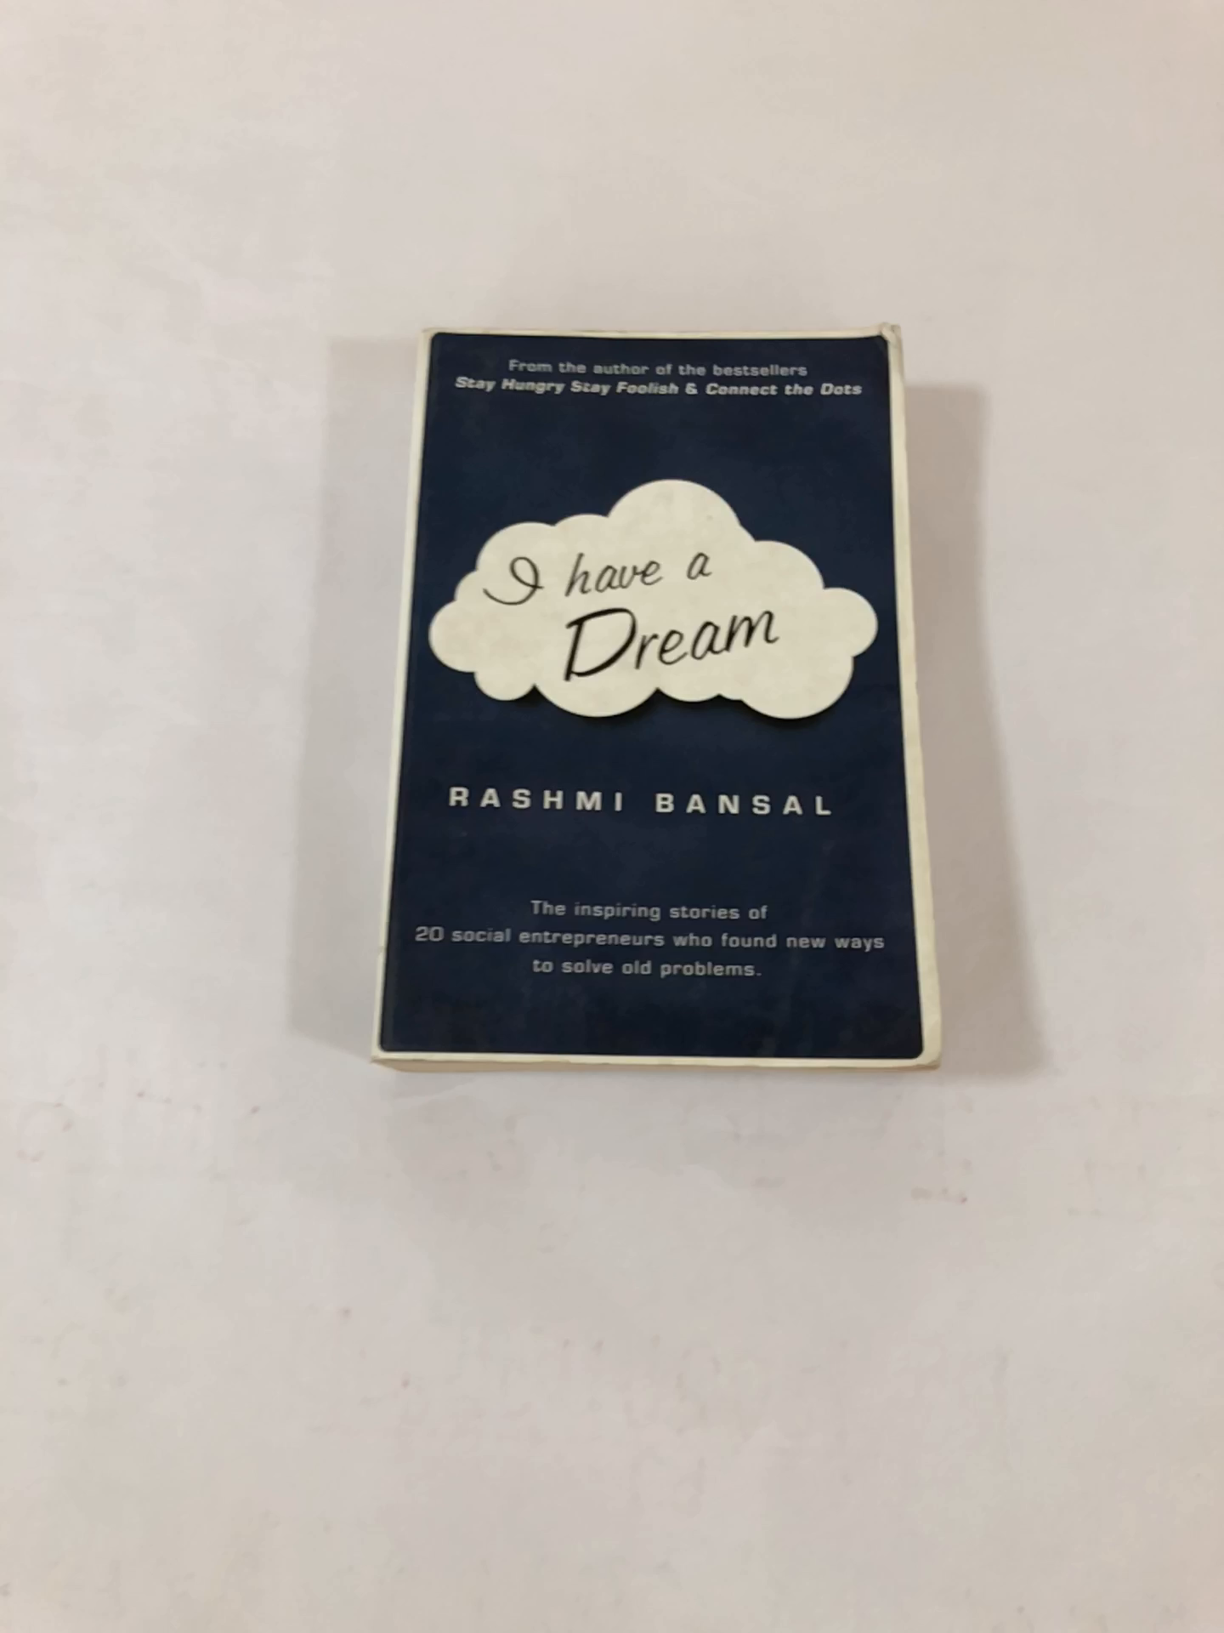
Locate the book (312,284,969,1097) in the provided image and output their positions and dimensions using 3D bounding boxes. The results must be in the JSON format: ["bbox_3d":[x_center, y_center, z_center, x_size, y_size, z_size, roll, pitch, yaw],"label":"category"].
[{"bbox_3d":[0.008,-0.036,0.338,0.140,0.030,0.200,2,72,-1],"label":"book"}]
